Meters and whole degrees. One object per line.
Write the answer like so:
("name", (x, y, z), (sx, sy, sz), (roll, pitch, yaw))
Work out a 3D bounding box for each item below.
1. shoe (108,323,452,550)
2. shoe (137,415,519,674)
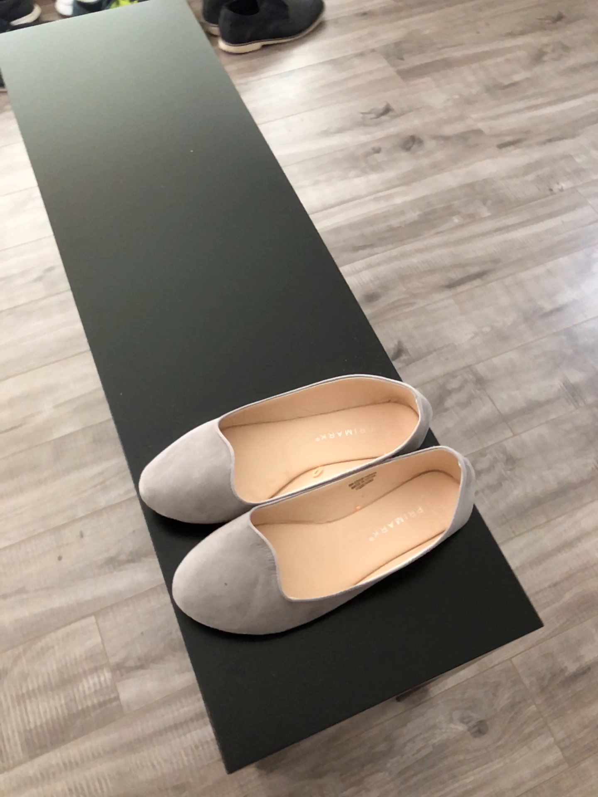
("shoe", (-0.015, 0.028, 0.543), (0.250, 0.060, 0.100), (-17, 63, -11))
("shoe", (0.020, 0.106, 0.500), (0.256, 0.060, 0.100), (-17, 63, -11))
